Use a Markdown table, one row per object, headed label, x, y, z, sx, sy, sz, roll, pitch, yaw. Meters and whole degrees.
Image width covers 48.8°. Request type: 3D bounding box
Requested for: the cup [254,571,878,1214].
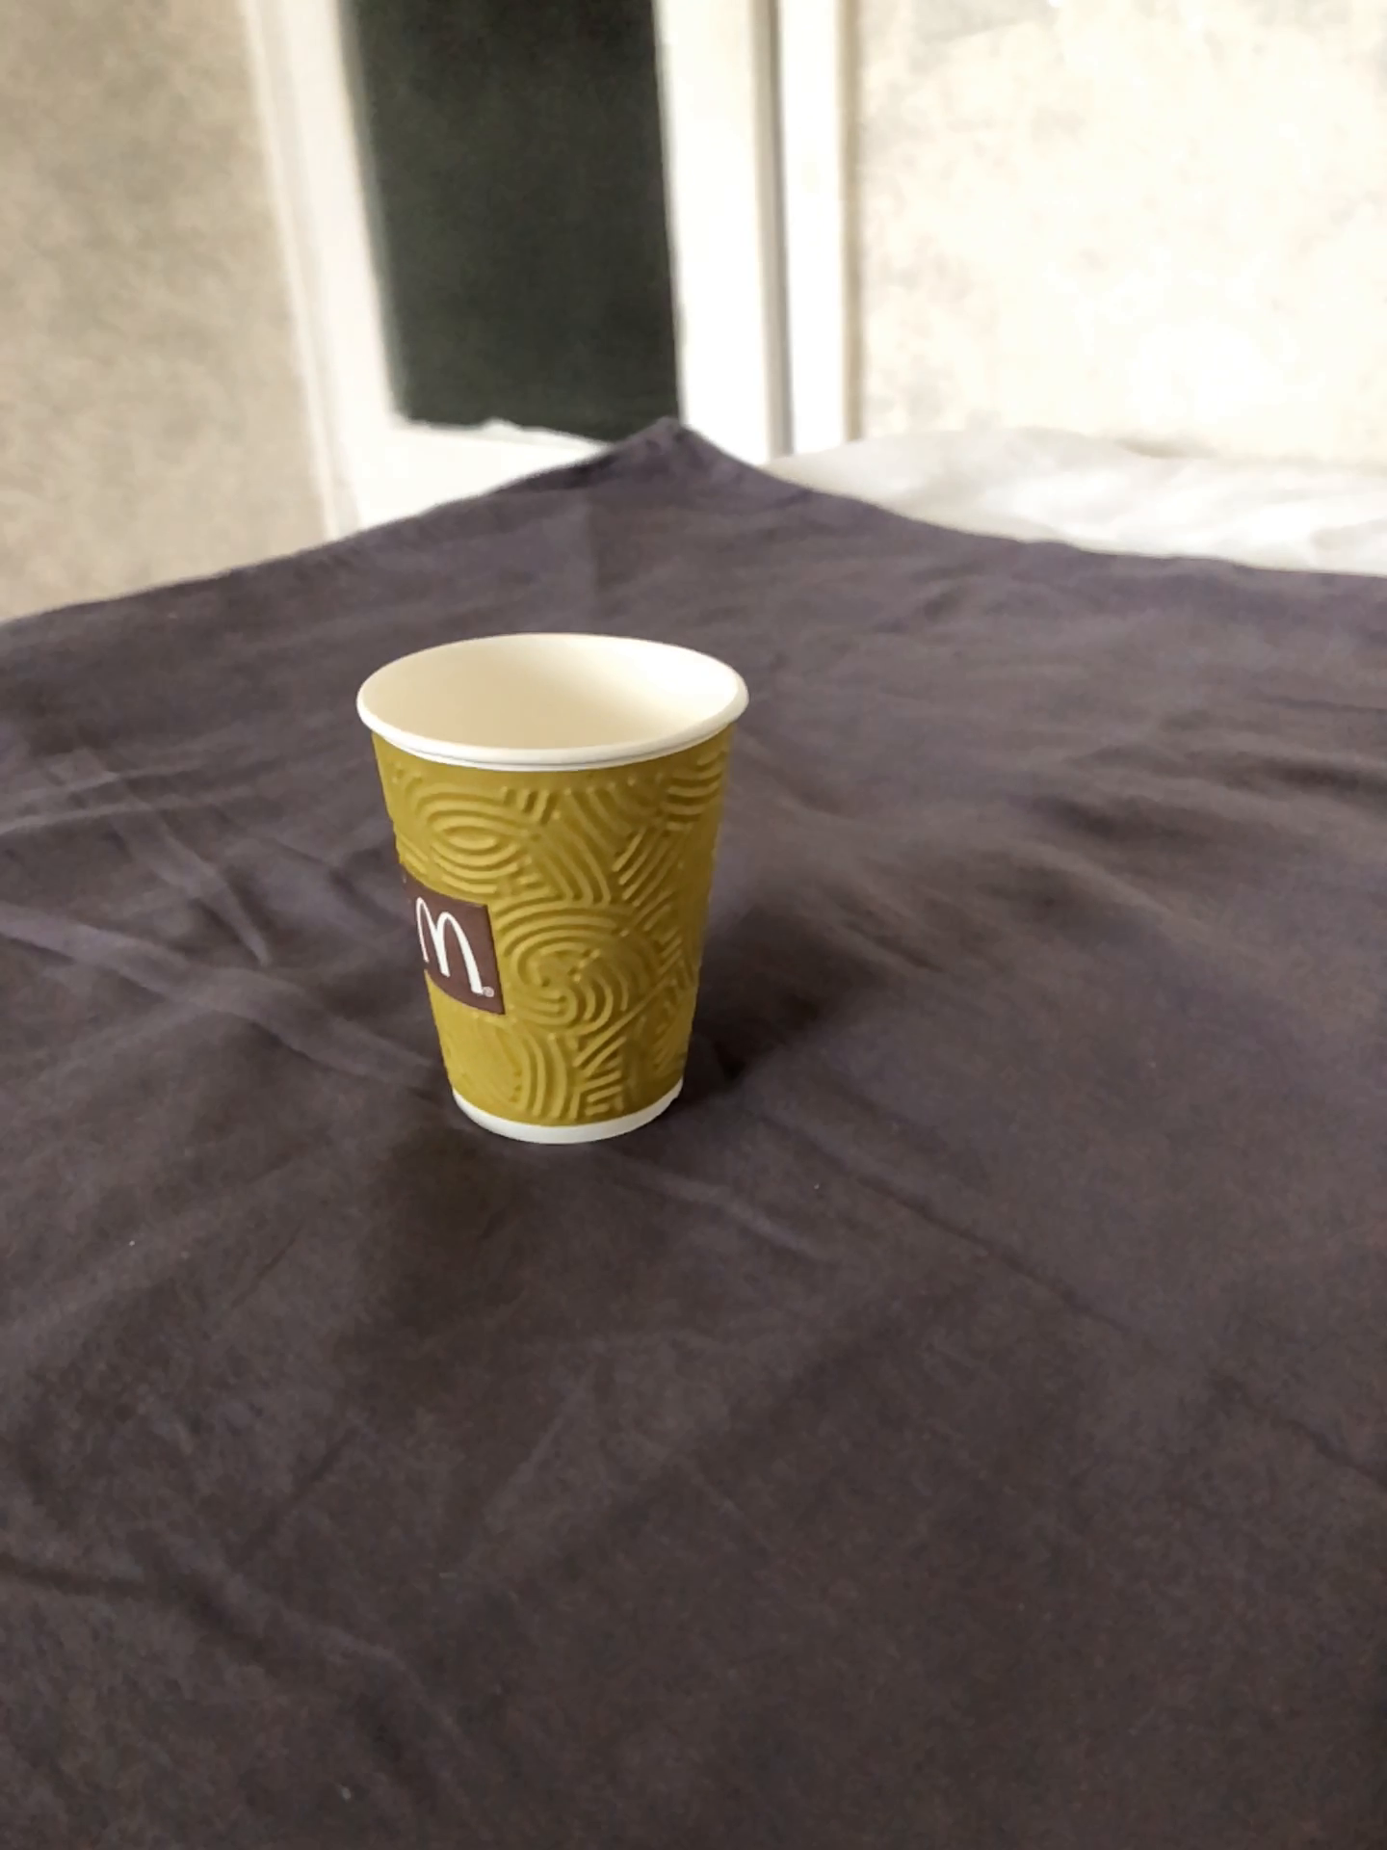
| label | x | y | z | sx | sy | sz | roll | pitch | yaw |
| --- | --- | --- | --- | --- | --- | --- | --- | --- | --- |
| cup | -0.032 | -0.017 | 0.361 | 0.098 | 0.101 | 0.108 | 0 | 25 | 0 |
